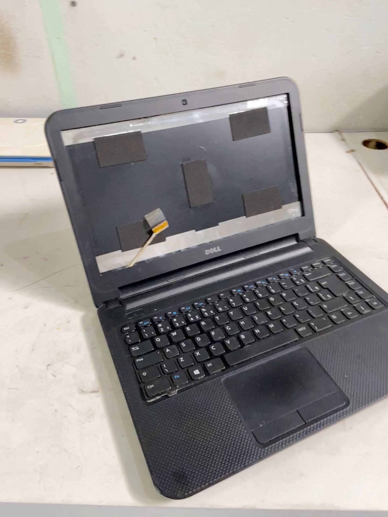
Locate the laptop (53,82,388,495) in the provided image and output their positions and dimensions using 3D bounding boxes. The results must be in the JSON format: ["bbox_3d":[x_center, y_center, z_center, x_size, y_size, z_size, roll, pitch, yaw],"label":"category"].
[{"bbox_3d":[0.060,-0.023,0.428,0.320,0.193,0.336,-17,42,-18],"label":"laptop"}]
